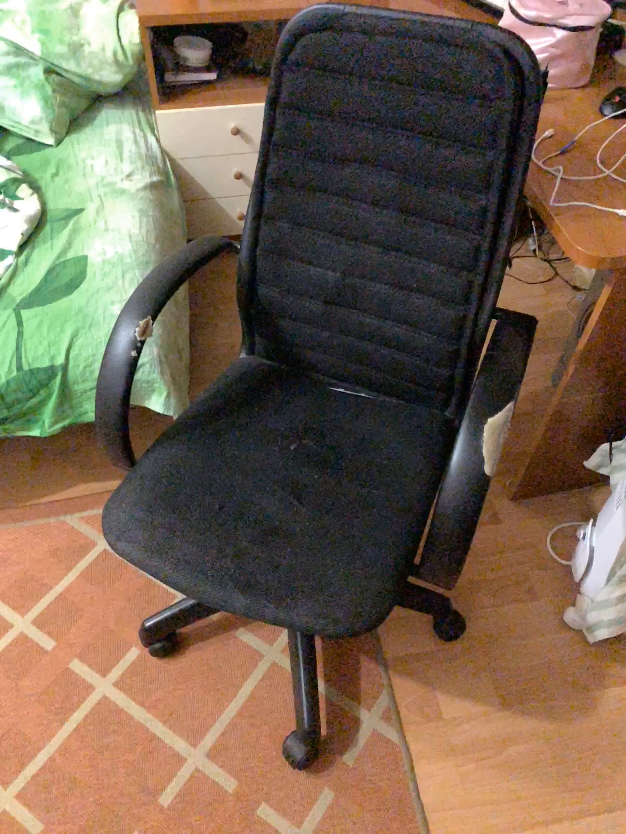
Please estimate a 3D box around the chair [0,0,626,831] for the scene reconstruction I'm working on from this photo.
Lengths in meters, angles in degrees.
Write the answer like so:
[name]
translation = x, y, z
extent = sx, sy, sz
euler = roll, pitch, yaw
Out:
[chair]
translation = 0.004, 0.034, 1.006
extent = 0.671, 0.992, 0.725
euler = 17, 51, 12
